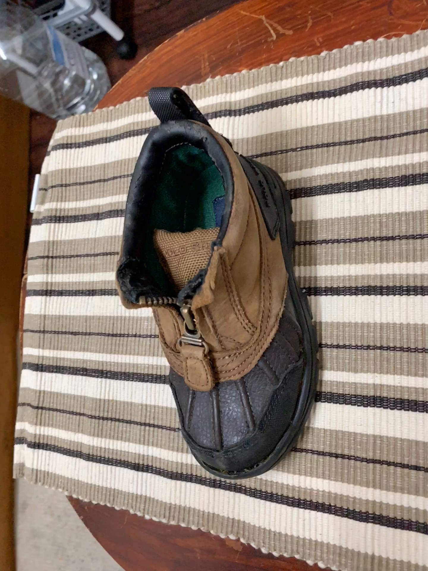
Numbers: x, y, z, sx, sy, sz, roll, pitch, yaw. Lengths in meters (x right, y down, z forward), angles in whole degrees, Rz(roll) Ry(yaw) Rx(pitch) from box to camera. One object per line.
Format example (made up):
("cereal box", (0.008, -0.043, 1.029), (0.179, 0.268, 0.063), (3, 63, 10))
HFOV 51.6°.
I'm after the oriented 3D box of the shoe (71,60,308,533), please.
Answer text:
("shoe", (-0.007, 0.005, 0.226), (0.080, 0.090, 0.180), (-4, 82, 28))
